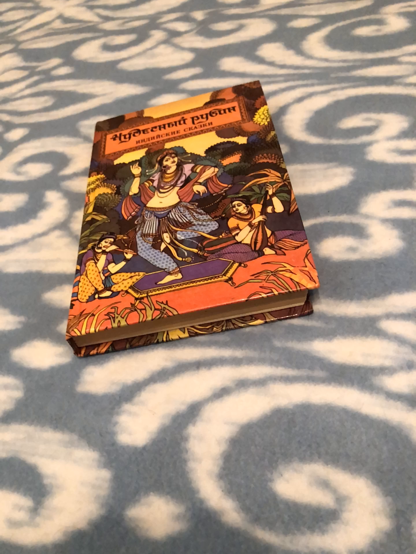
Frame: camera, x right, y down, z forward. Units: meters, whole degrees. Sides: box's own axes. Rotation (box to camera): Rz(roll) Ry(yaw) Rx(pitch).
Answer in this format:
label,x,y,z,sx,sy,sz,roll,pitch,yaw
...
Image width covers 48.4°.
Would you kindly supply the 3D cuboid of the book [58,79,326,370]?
label,x,y,z,sx,sy,sz,roll,pitch,yaw
book,-0.016,-0.050,0.311,0.139,0.027,0.211,-12,50,7
